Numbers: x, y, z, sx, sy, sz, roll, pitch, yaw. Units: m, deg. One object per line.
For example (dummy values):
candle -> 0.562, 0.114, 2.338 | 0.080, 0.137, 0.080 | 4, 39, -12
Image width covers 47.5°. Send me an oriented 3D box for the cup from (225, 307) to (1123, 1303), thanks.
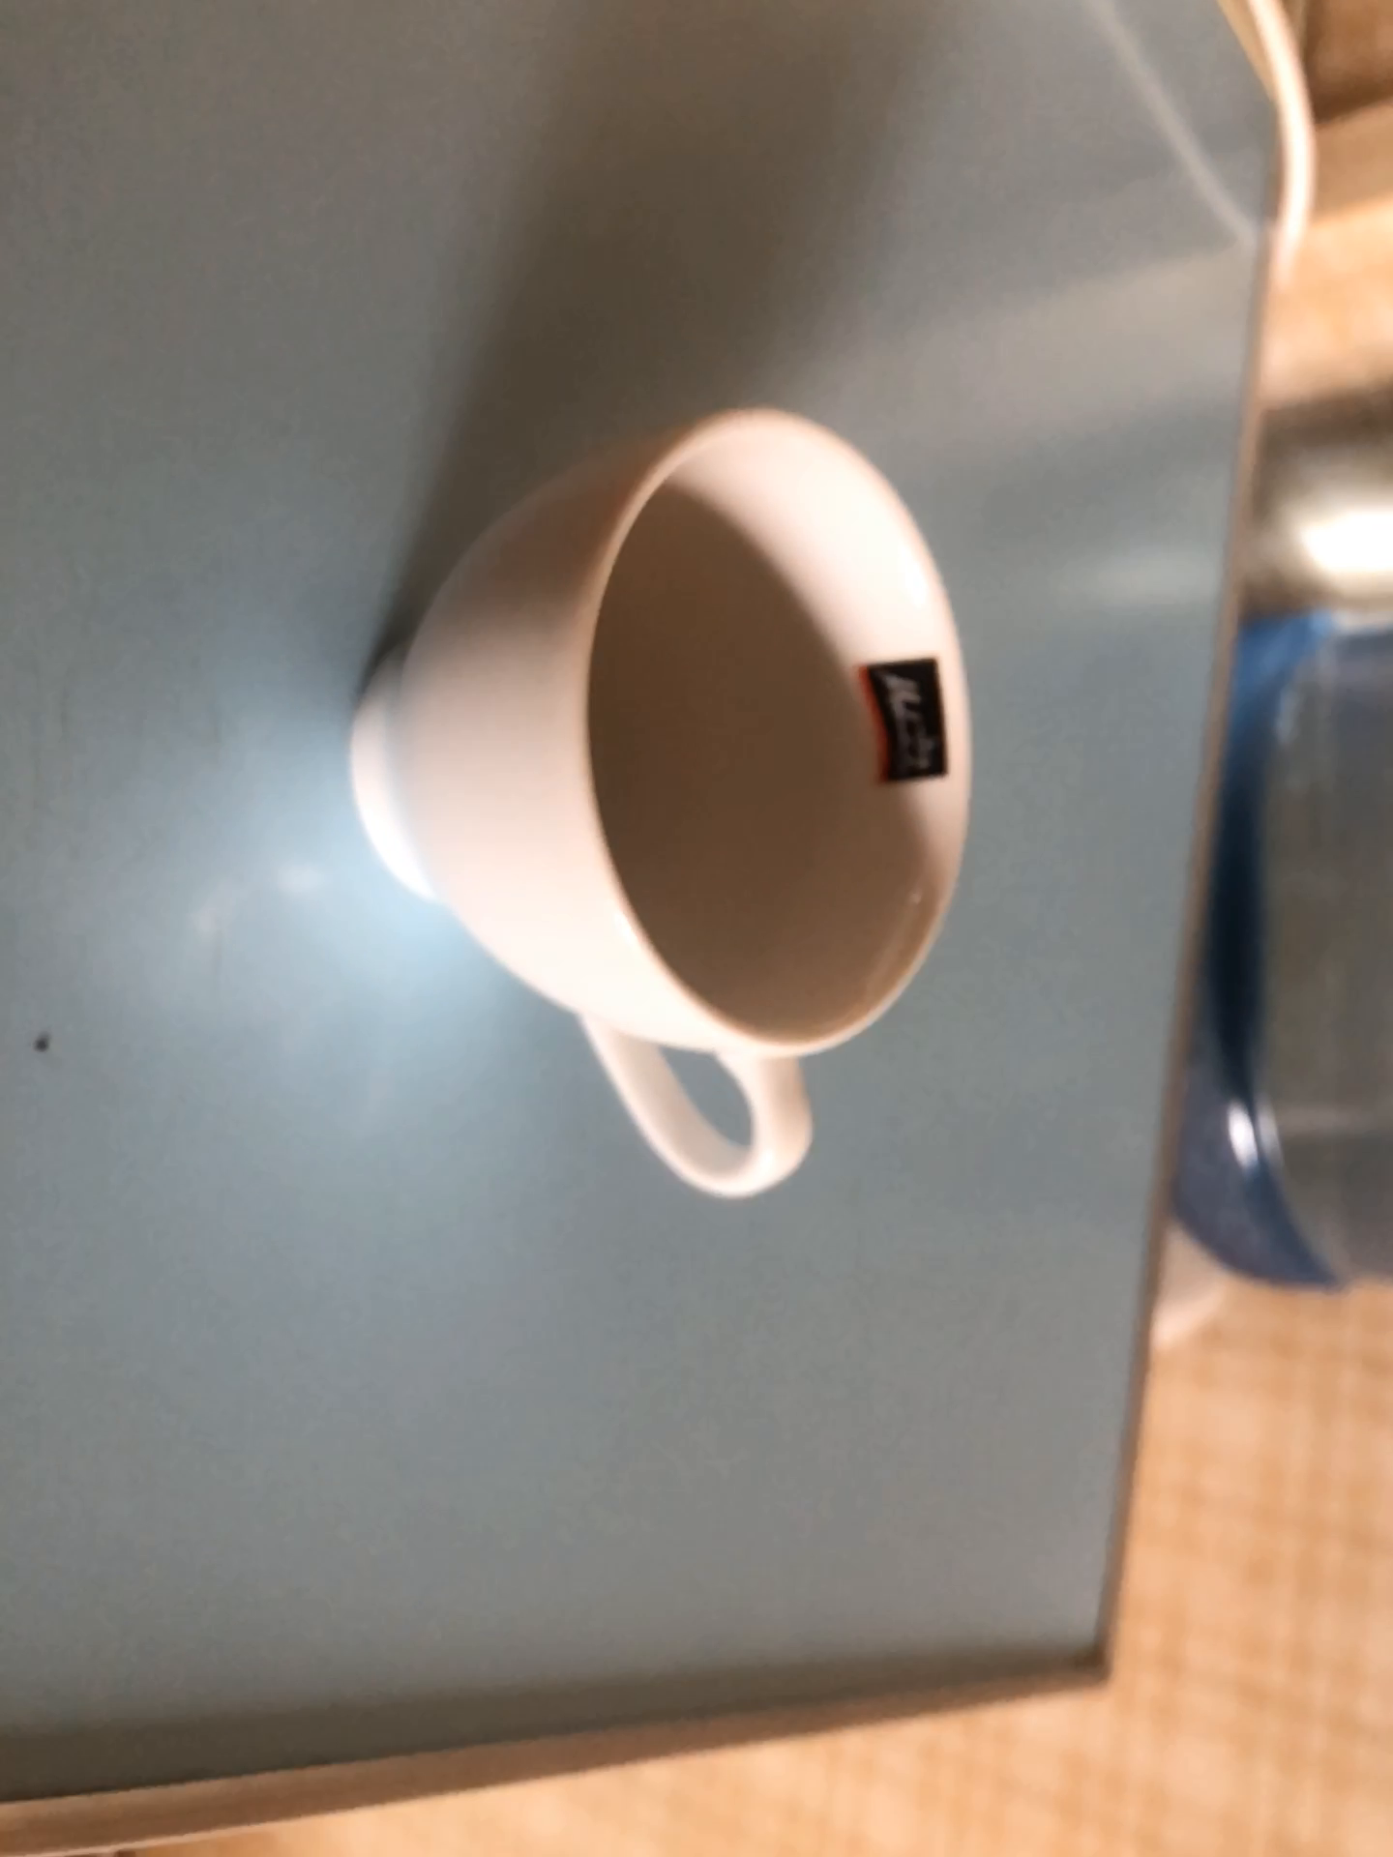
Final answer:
cup -> 0.004, -0.021, 0.237 | 0.089, 0.065, 0.110 | -36, 116, -43
